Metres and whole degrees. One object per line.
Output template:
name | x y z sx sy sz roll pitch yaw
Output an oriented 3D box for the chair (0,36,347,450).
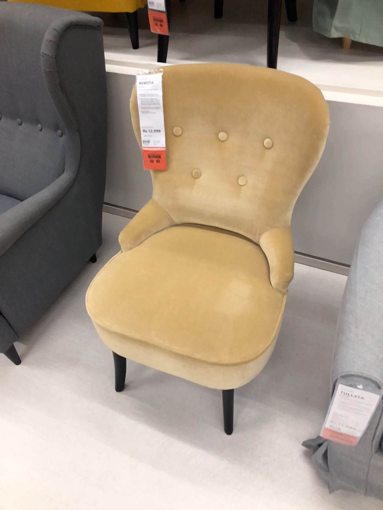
chair | 0.006 -0.021 1.186 0.581 0.865 0.643 14 51 19
